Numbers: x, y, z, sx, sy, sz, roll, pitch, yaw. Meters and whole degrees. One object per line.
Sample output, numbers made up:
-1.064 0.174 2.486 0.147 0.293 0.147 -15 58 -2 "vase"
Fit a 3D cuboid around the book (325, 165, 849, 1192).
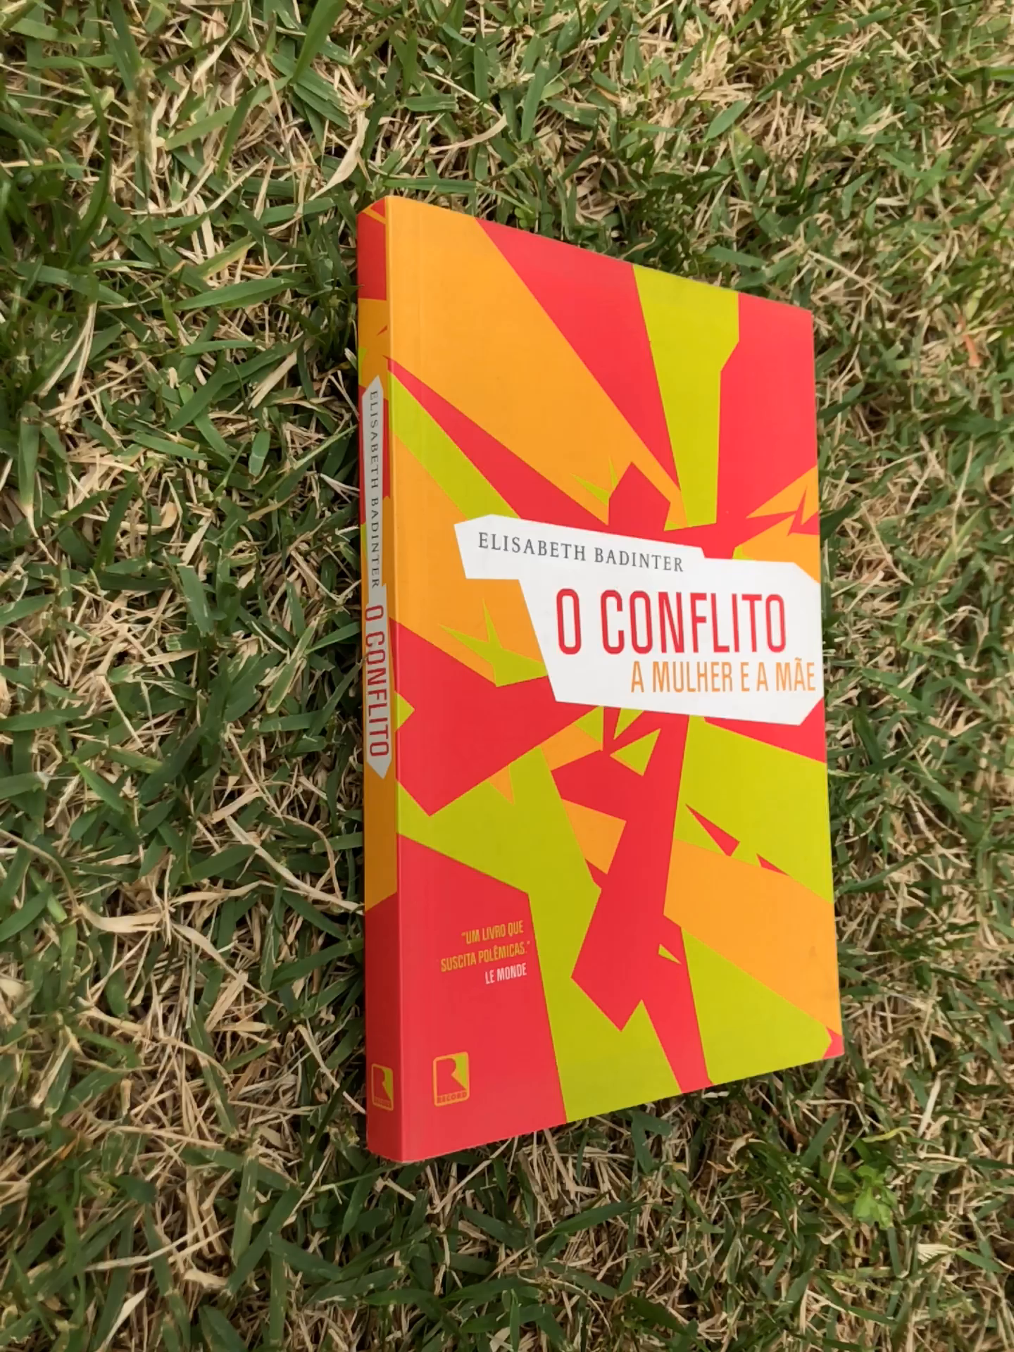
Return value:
0.023 -0.001 0.262 0.131 0.020 0.200 2 85 -32 "book"
